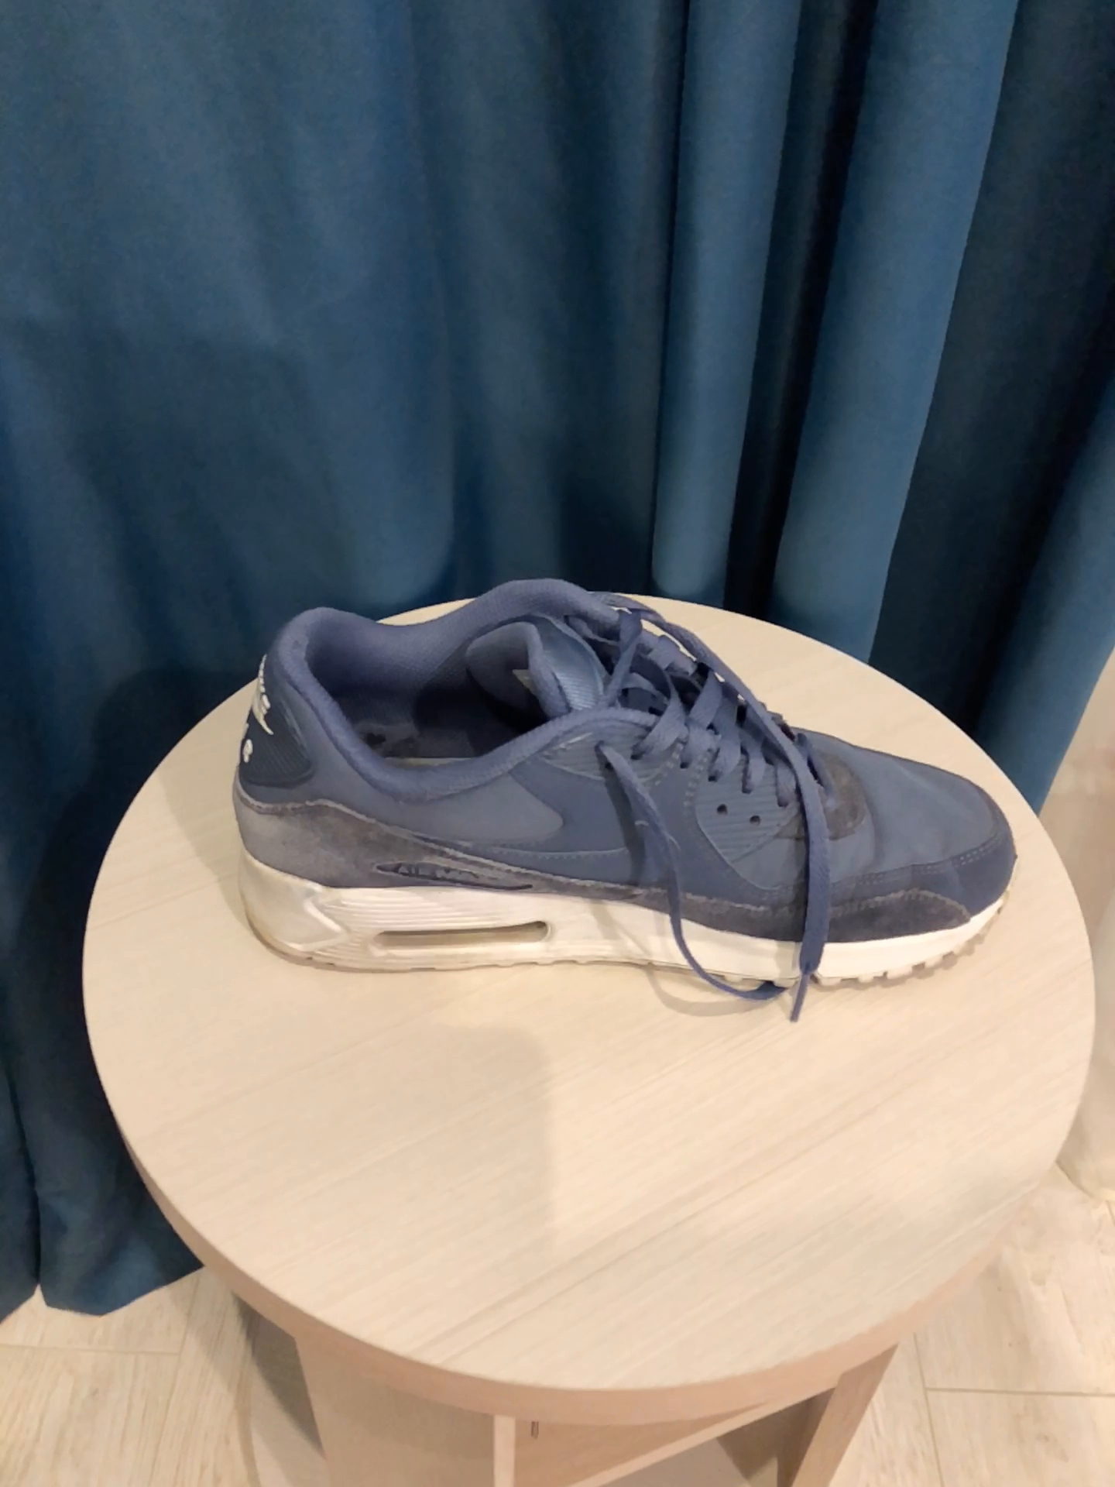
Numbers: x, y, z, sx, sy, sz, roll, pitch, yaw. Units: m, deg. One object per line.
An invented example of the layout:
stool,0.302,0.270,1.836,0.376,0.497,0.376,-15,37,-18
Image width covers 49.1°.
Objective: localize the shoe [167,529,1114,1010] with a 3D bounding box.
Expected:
shoe,0.029,0.009,0.417,0.280,0.109,0.111,2,40,-3
